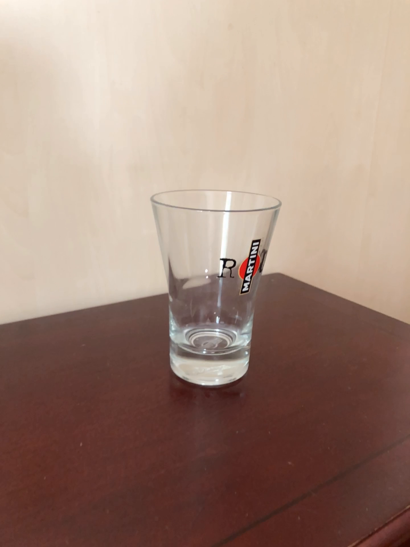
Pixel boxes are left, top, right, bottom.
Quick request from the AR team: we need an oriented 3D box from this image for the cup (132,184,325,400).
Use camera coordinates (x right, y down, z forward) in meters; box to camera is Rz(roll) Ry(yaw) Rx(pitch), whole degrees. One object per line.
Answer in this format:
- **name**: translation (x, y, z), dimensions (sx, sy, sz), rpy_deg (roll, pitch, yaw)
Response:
- **cup**: translation (0.011, 0.003, 0.327), dimensions (0.095, 0.118, 0.094), rpy_deg (1, 17, 0)
